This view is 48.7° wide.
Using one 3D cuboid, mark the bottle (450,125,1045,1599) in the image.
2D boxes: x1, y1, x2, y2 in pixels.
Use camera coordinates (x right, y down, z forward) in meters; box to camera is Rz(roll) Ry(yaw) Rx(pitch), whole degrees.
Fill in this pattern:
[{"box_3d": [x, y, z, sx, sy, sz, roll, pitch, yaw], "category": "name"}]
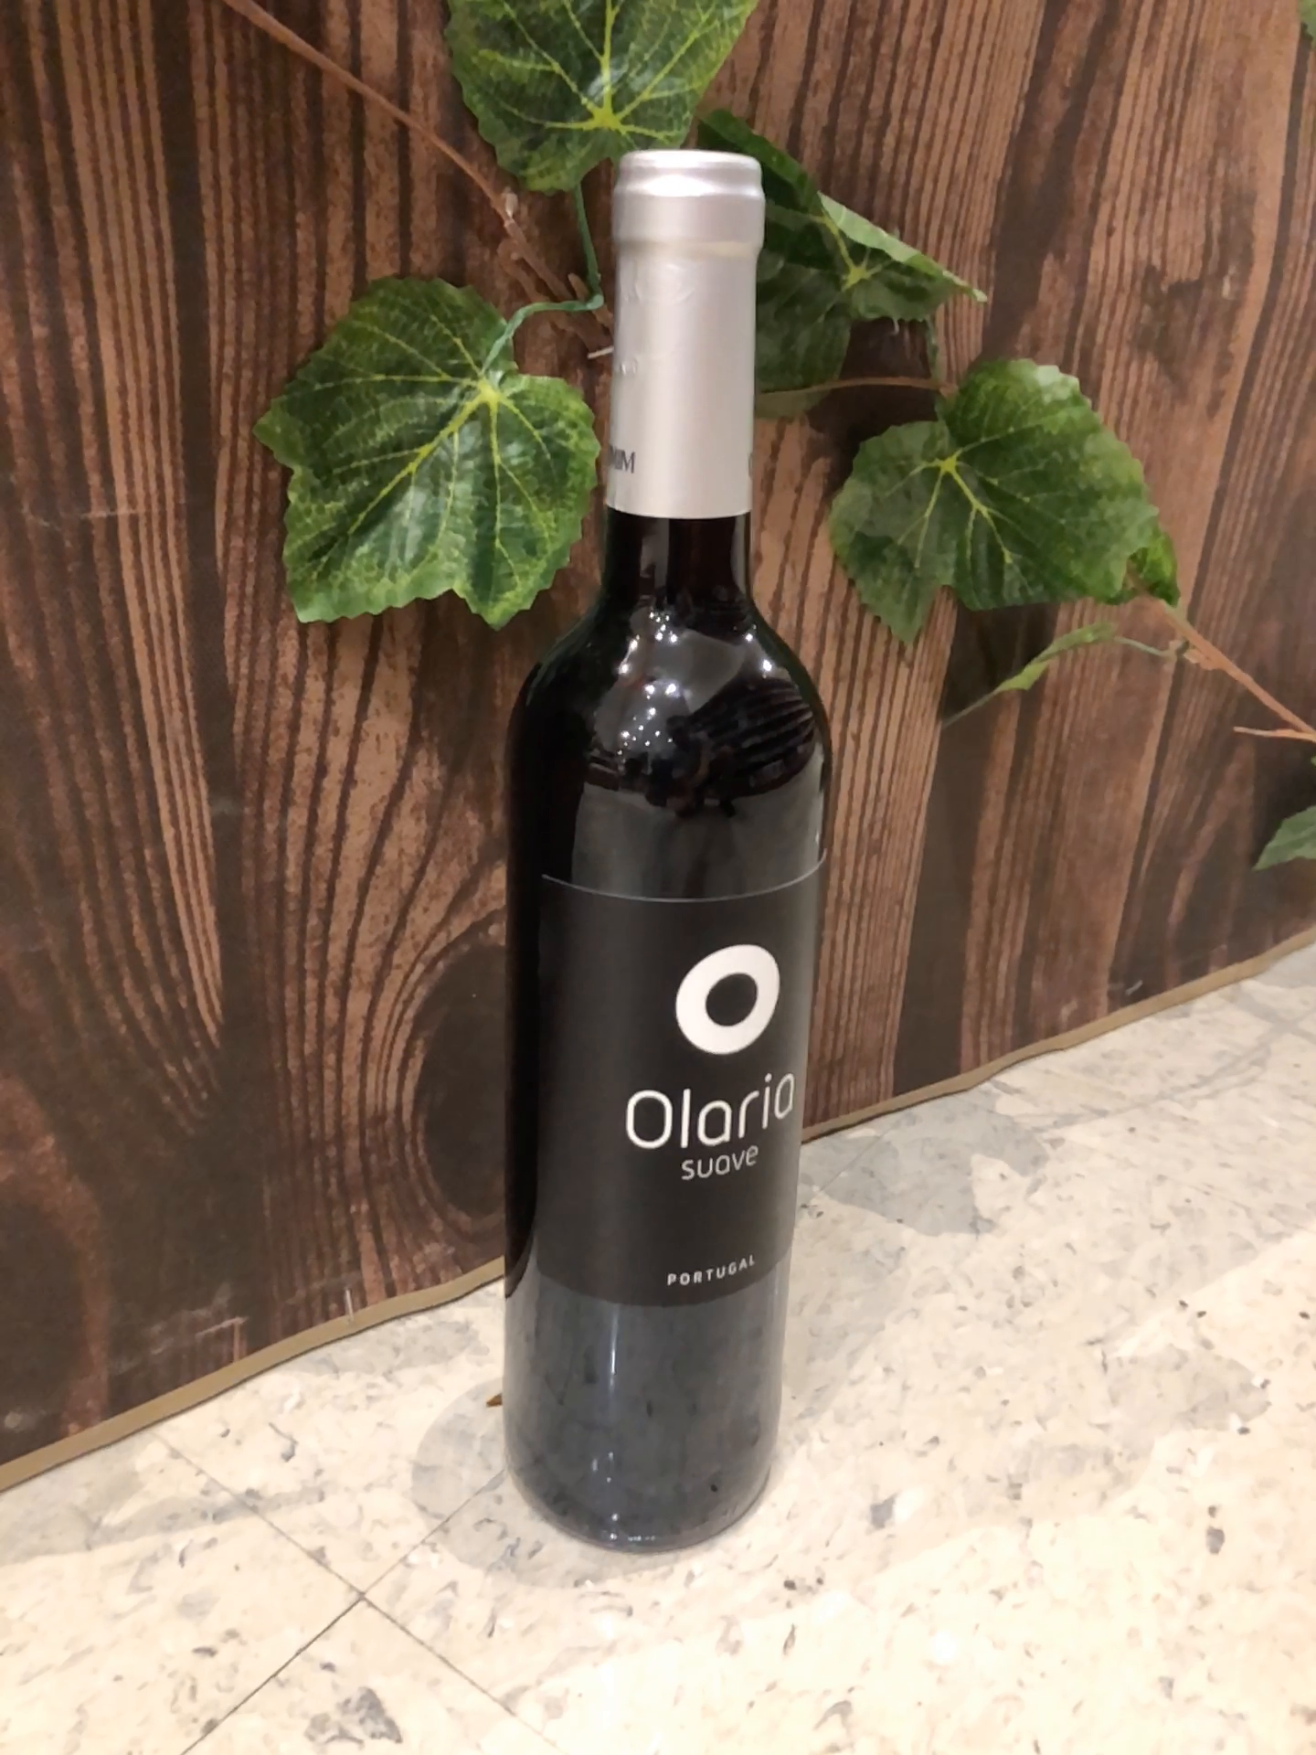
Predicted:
[{"box_3d": [0.009, 0.005, 0.324, 0.080, 0.298, 0.080, 2, 22, -1], "category": "bottle"}]
